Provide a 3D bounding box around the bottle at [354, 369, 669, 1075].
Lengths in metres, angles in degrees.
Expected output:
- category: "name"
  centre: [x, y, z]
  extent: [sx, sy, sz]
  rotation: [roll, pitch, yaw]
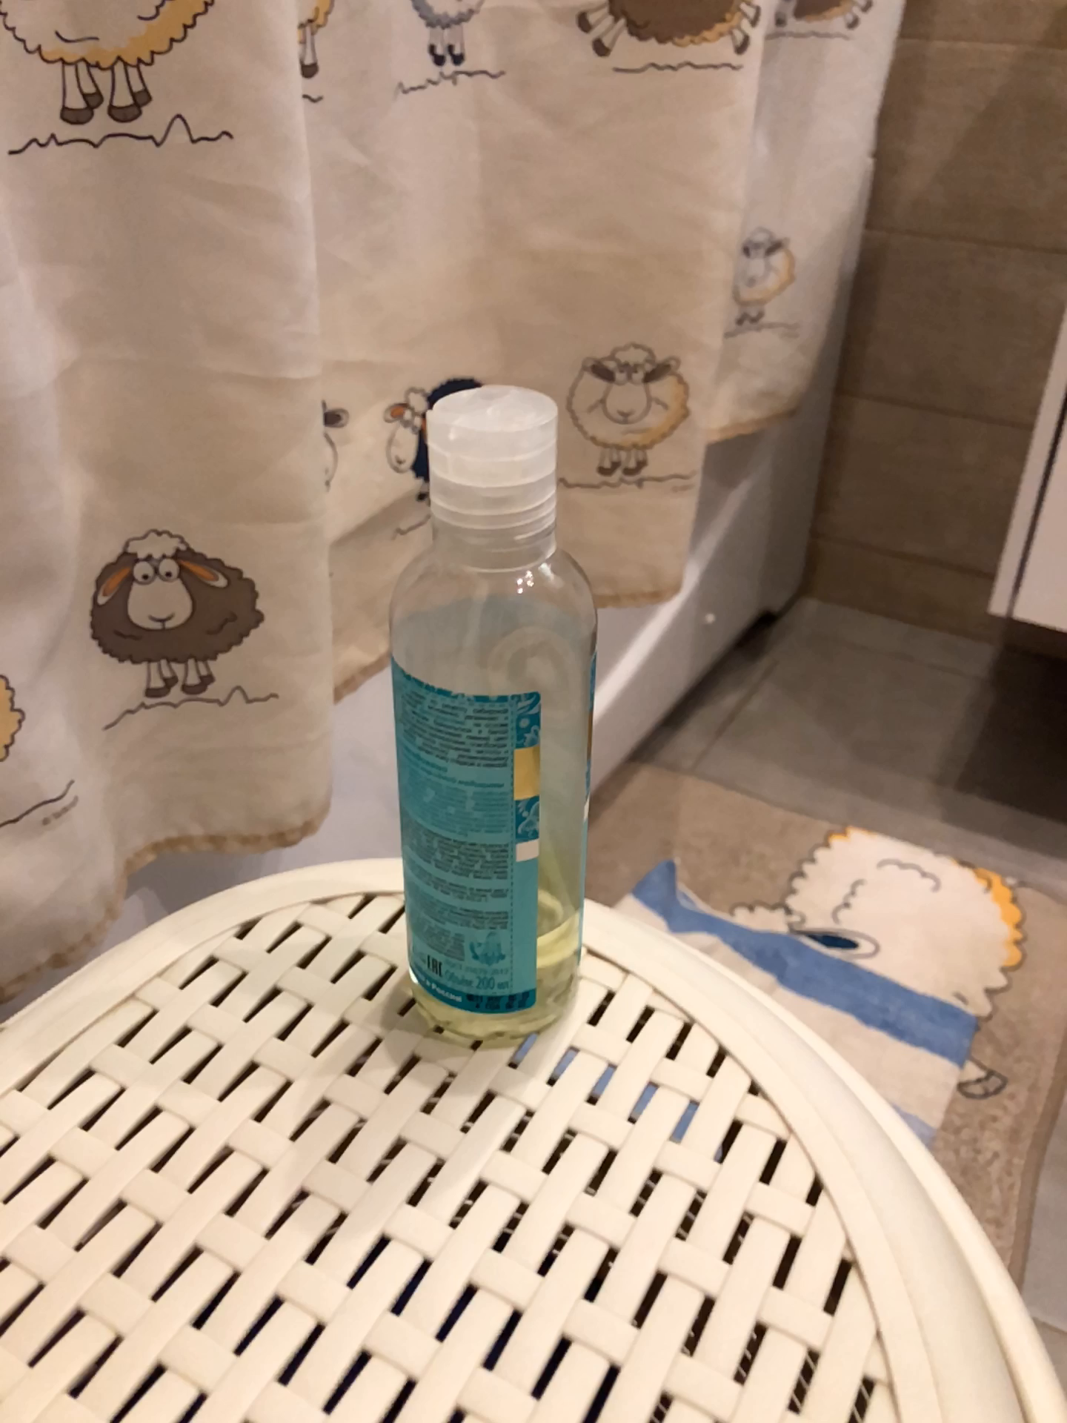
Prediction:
- category: "bottle"
  centre: [-0.005, 0.007, 0.273]
  extent: [0.045, 0.153, 0.045]
  rotation: [1, 32, -1]
